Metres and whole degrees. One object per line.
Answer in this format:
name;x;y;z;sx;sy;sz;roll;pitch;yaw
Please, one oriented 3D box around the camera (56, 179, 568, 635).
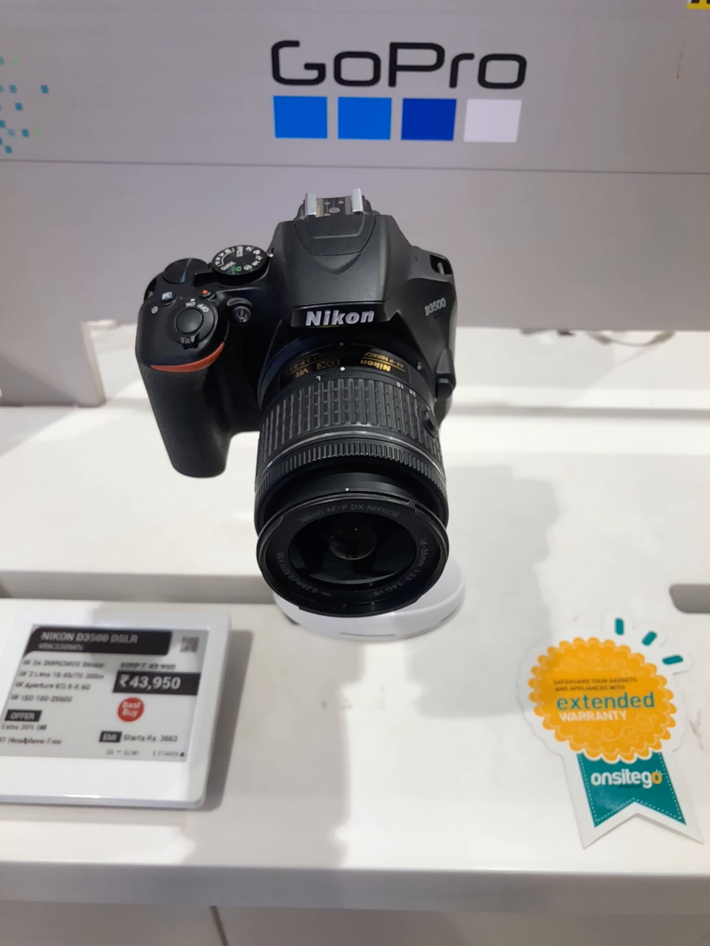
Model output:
camera;-0.014;-0.027;0.260;0.120;0.089;0.121;-3;43;-3
